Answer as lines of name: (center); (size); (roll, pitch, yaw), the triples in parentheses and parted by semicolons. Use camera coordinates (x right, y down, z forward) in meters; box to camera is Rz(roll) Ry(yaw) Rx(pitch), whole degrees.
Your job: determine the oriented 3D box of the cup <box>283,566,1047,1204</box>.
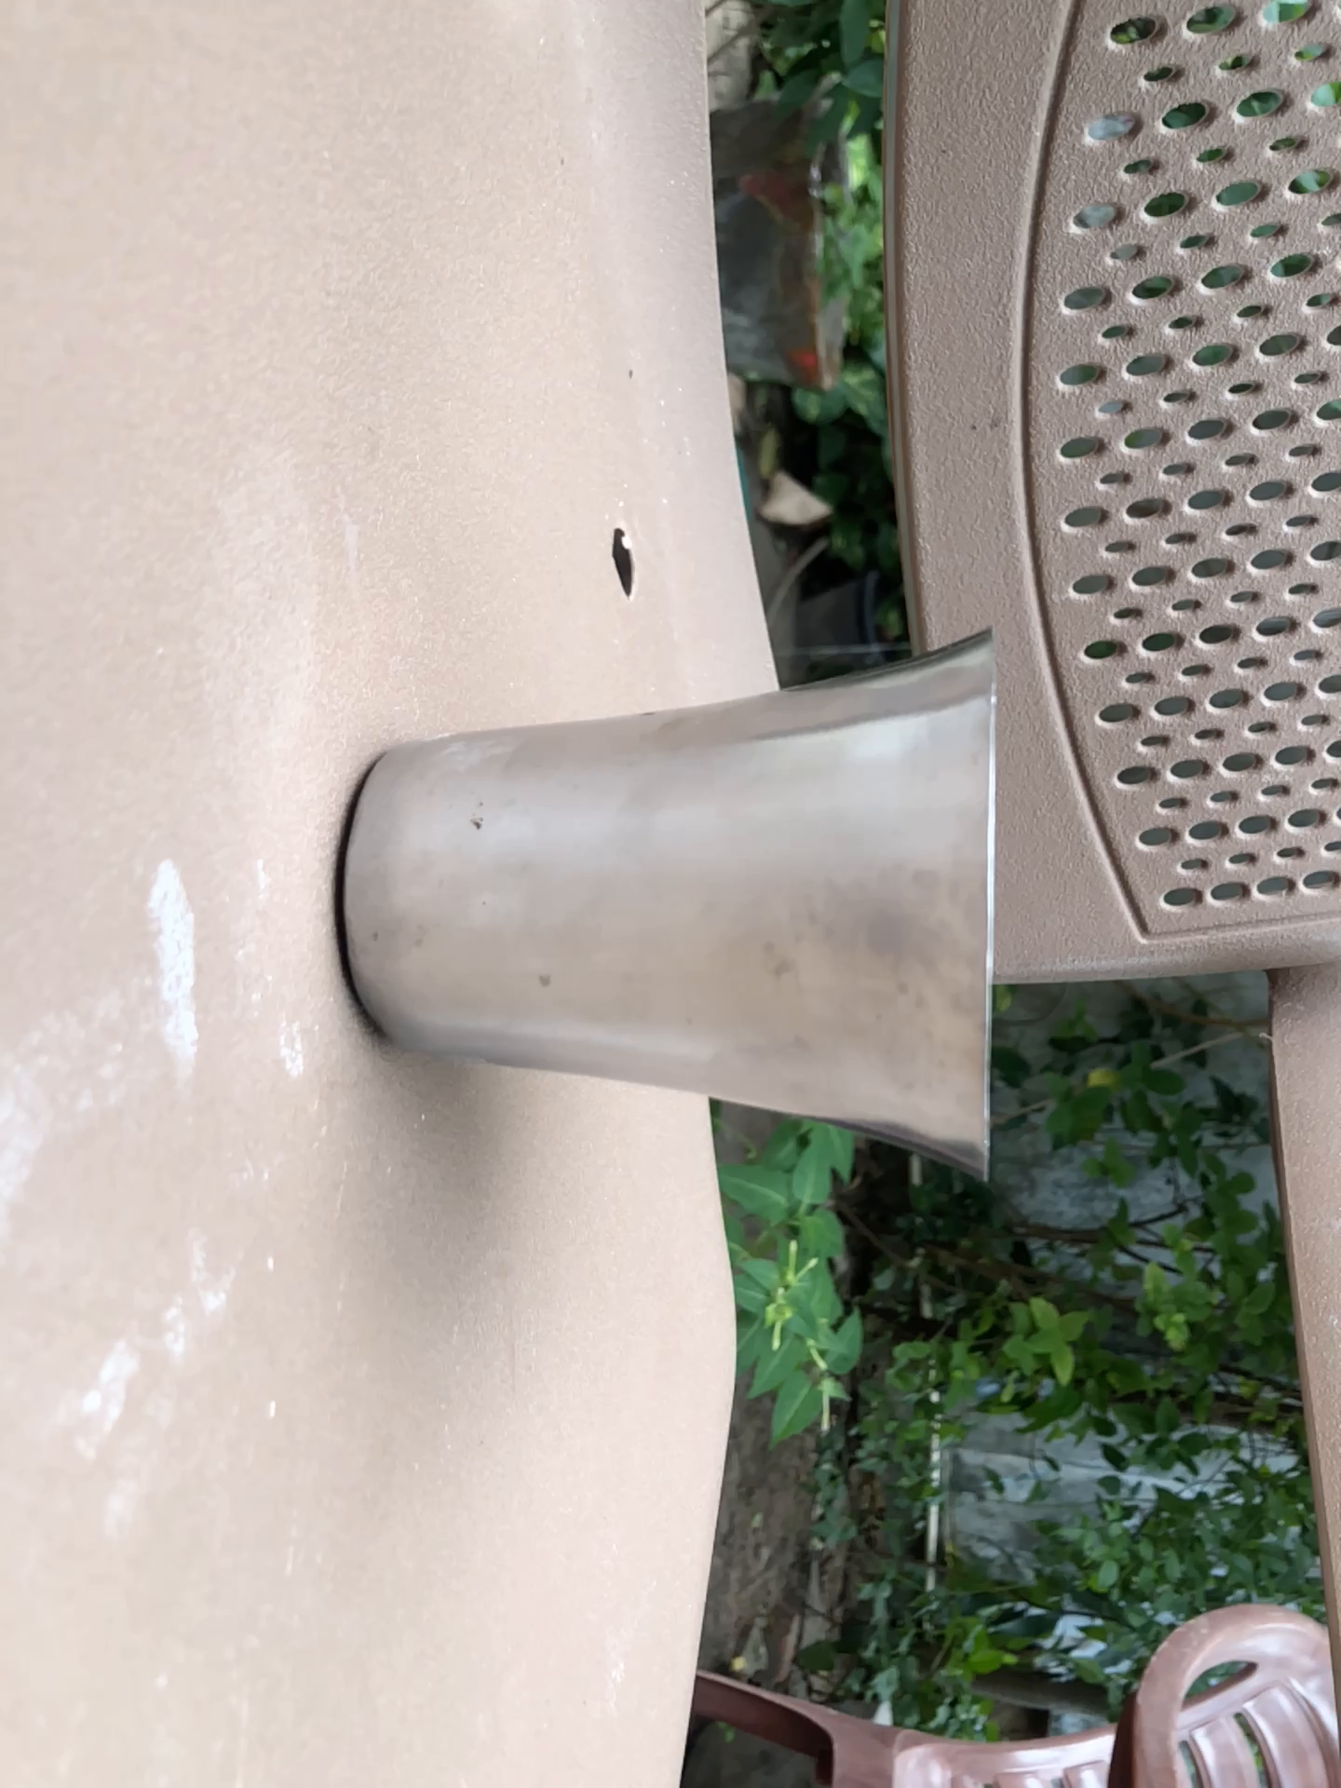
cup: (0.005, -0.002, 0.233); (0.070, 0.099, 0.080); (7, 86, -74)
